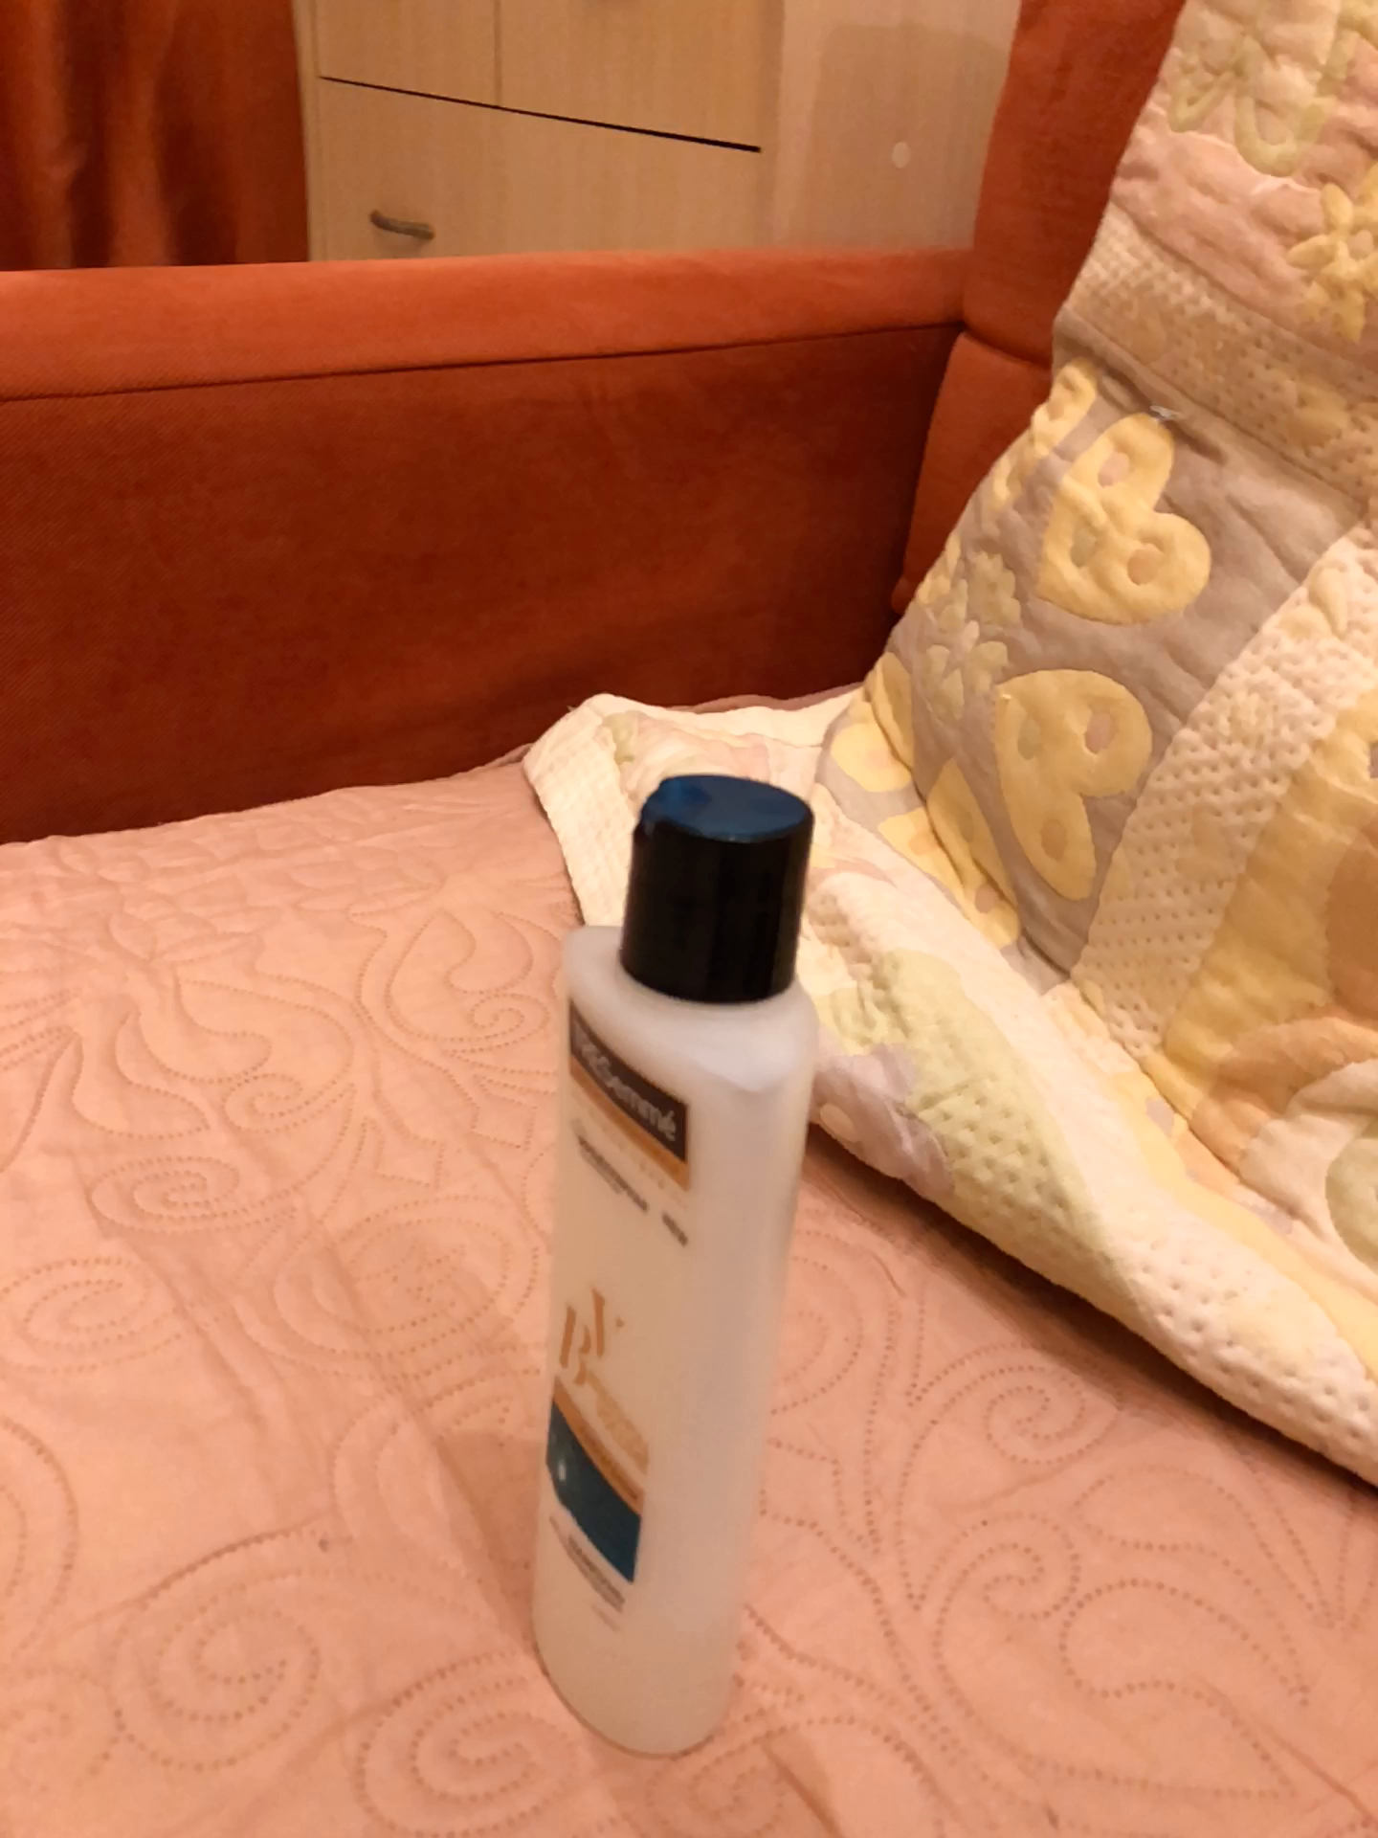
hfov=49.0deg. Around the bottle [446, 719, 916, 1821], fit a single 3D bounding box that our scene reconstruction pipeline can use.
[{"bbox_3d":[-0.011,0.070,0.288,0.040,0.199,0.070,-12,32,-32],"label":"bottle"}]
